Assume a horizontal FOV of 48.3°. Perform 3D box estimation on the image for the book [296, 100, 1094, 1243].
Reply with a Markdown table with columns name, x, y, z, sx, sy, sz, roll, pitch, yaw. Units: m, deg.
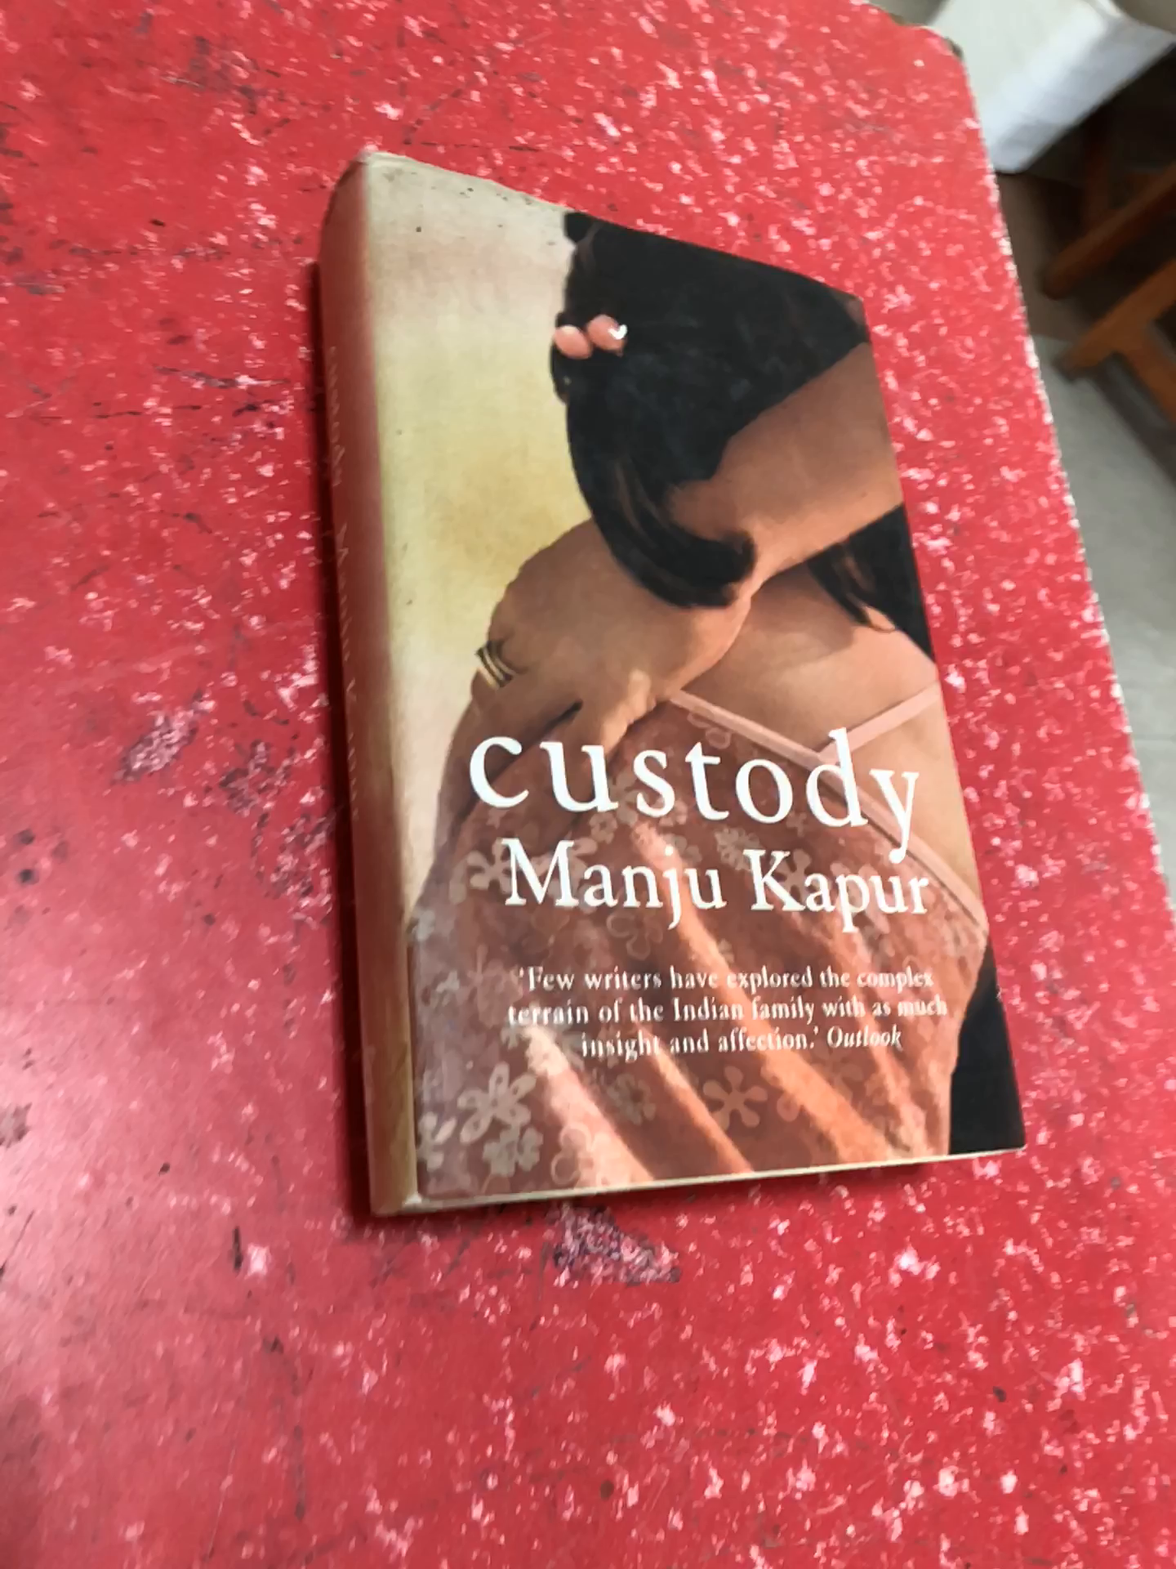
| name | x | y | z | sx | sy | sz | roll | pitch | yaw |
| --- | --- | --- | --- | --- | --- | --- | --- | --- | --- |
| book | 0.017 | -0.027 | 0.282 | 0.140 | 0.040 | 0.220 | 3 | 68 | -28 |
